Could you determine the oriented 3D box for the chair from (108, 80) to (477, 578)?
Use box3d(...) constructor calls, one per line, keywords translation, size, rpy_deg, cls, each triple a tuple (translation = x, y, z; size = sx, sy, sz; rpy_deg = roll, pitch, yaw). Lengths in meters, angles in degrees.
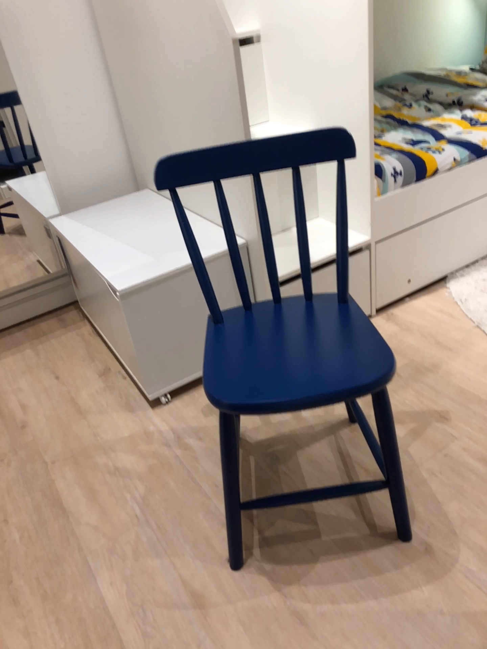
box3d(translation=(0.100, 0.011, 1.070), size=(0.460, 0.804, 0.484), rpy_deg=(-9, 31, 1), cls="chair")
